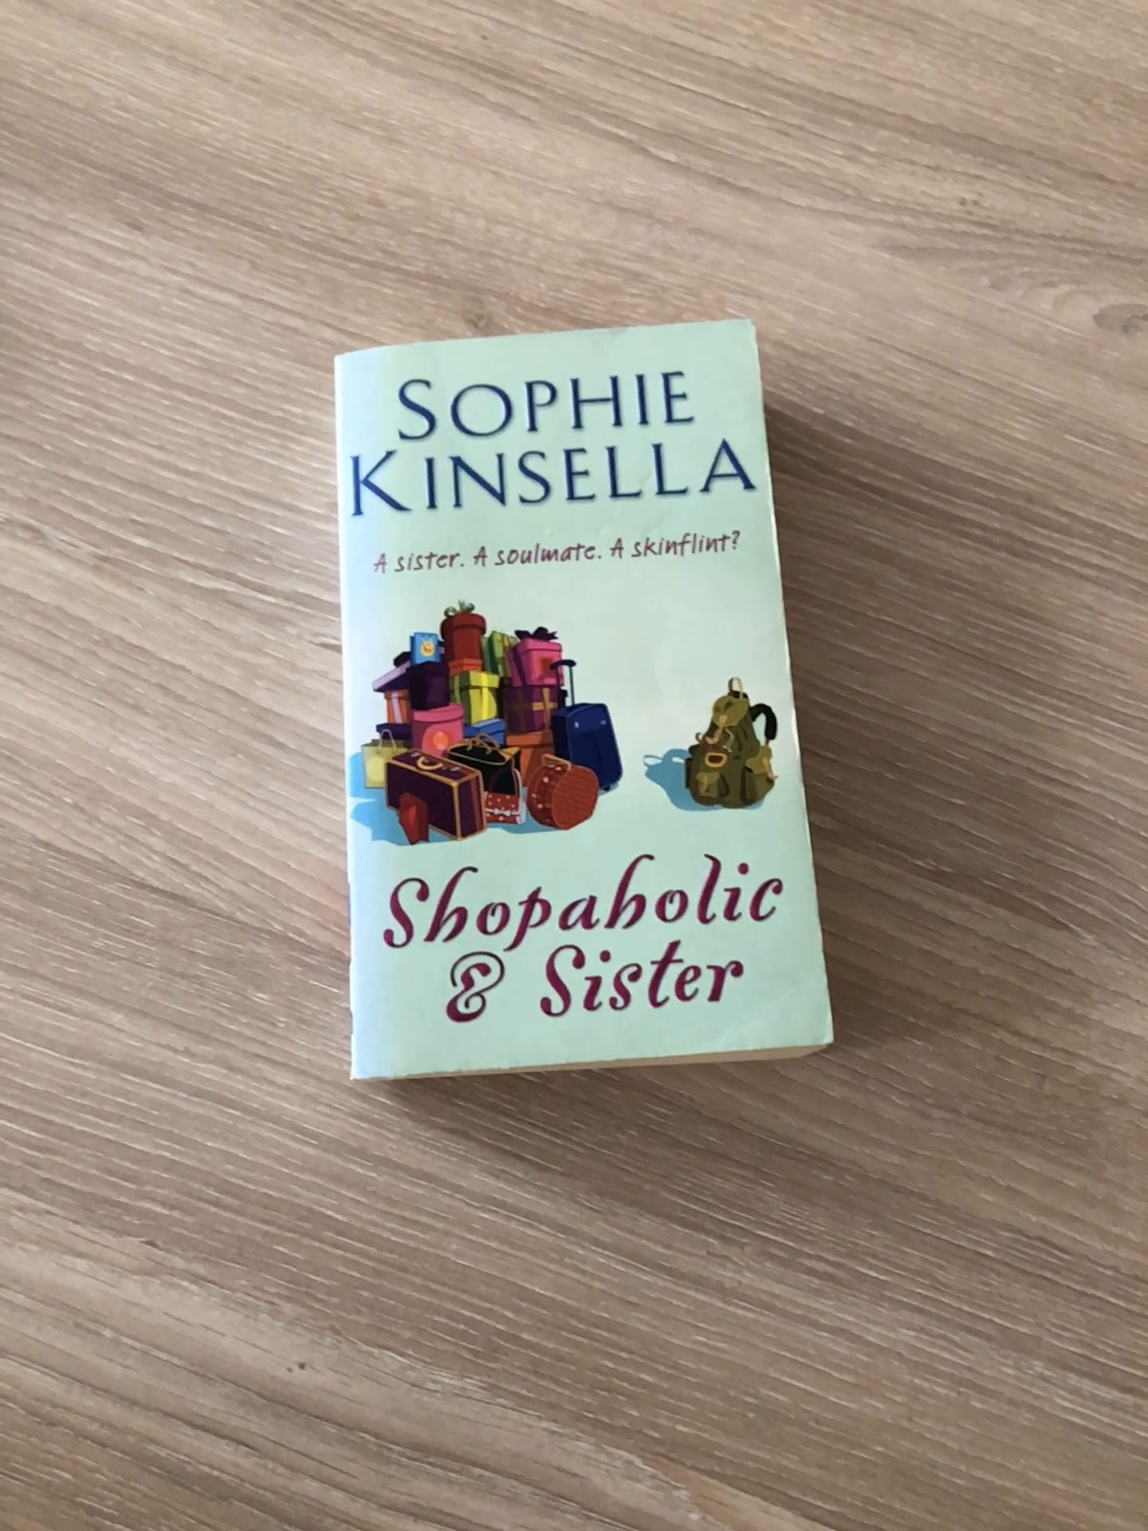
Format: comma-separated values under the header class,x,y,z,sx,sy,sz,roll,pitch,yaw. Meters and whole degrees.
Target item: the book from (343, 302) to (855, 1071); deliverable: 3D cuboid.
class,x,y,z,sx,sy,sz,roll,pitch,yaw
book,0.002,-0.022,0.310,0.107,0.032,0.180,-3,76,-2
